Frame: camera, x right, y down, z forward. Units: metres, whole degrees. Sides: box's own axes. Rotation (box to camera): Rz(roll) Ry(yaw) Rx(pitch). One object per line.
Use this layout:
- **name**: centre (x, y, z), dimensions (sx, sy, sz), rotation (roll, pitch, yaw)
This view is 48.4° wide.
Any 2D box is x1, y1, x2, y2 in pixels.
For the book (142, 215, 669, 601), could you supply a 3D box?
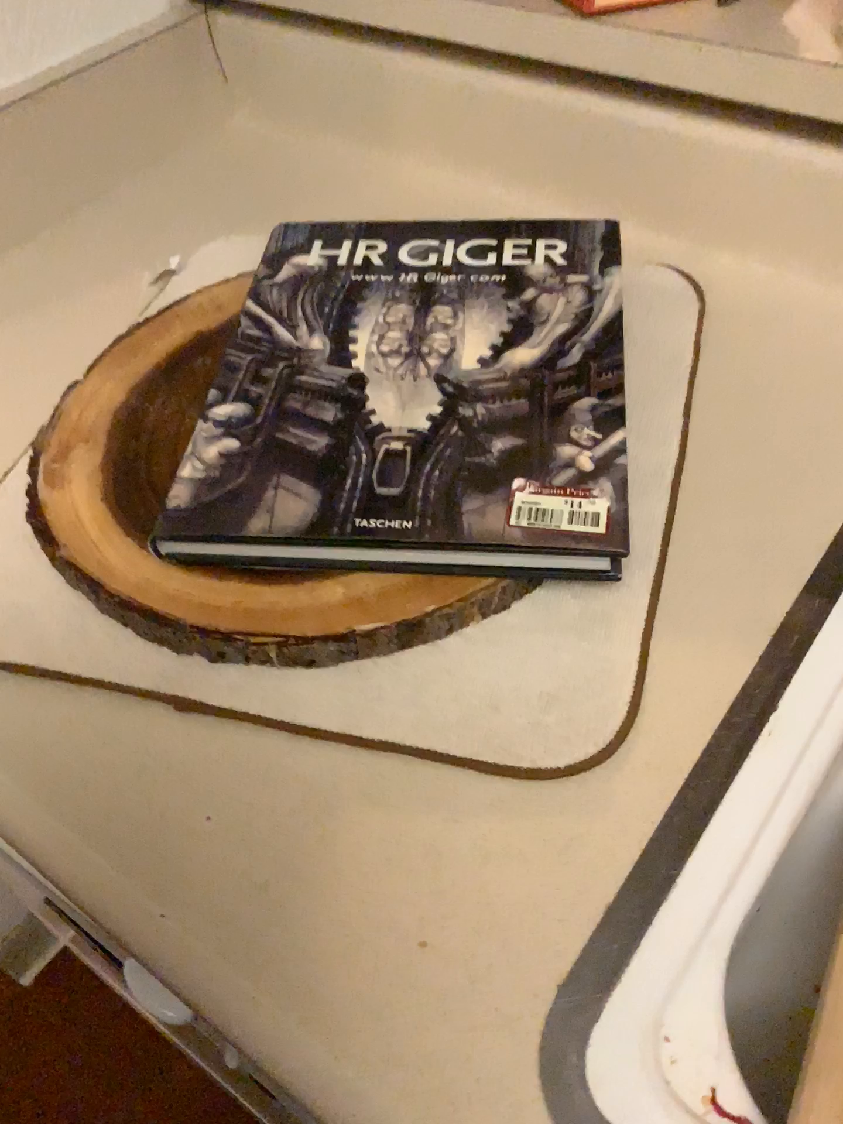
- **book**: centre (0.006, -0.119, 0.593), dimensions (0.270, 0.030, 0.330), rotation (2, 49, 7)
